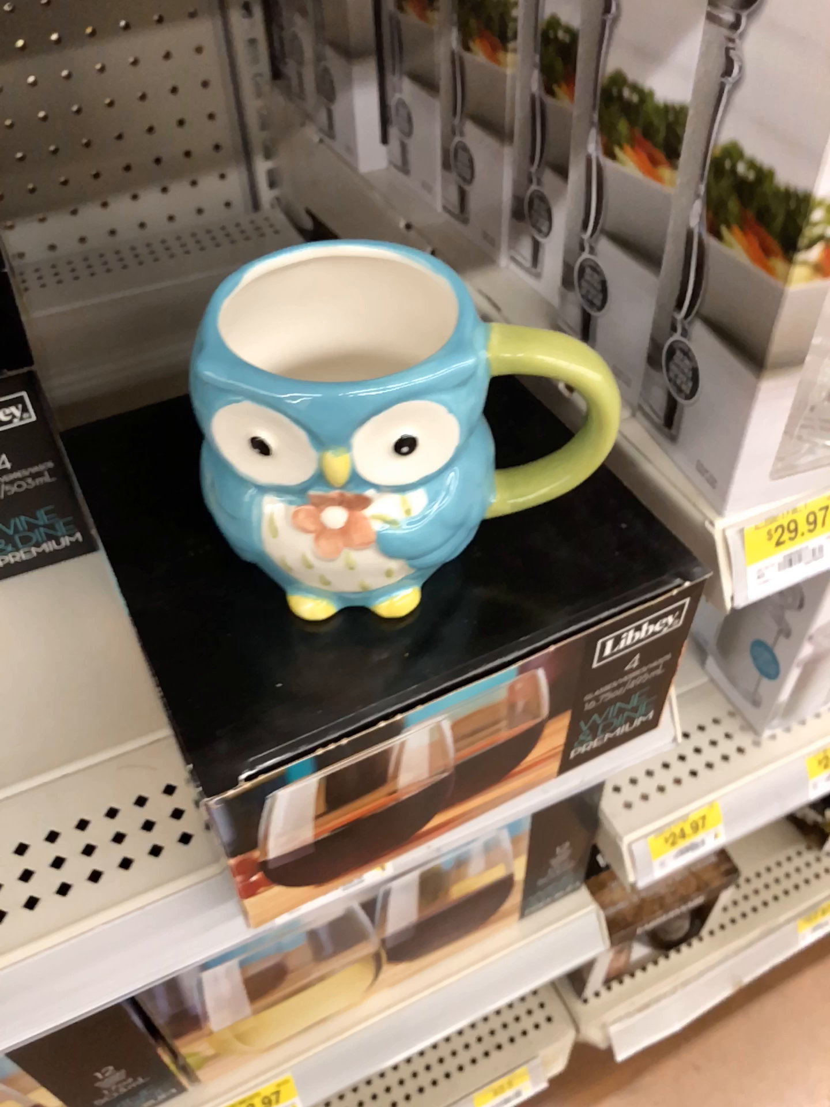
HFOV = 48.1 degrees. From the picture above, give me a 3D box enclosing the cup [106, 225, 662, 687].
[{"bbox_3d":[-0.002,-0.032,0.302,0.140,0.110,0.090,4,47,7],"label":"cup"}]
